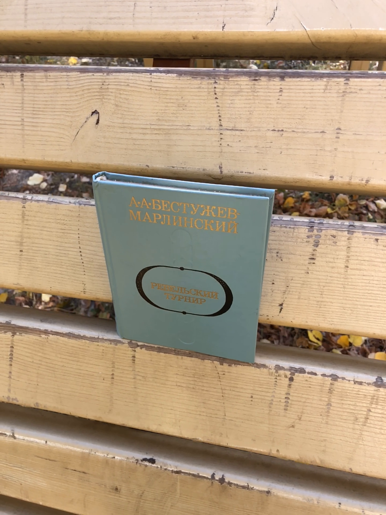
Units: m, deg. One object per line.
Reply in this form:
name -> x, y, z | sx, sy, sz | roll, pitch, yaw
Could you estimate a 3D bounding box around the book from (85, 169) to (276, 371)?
book -> -0.008, 0.016, 0.359 | 0.140, 0.169, 0.022 | 9, 38, 17
